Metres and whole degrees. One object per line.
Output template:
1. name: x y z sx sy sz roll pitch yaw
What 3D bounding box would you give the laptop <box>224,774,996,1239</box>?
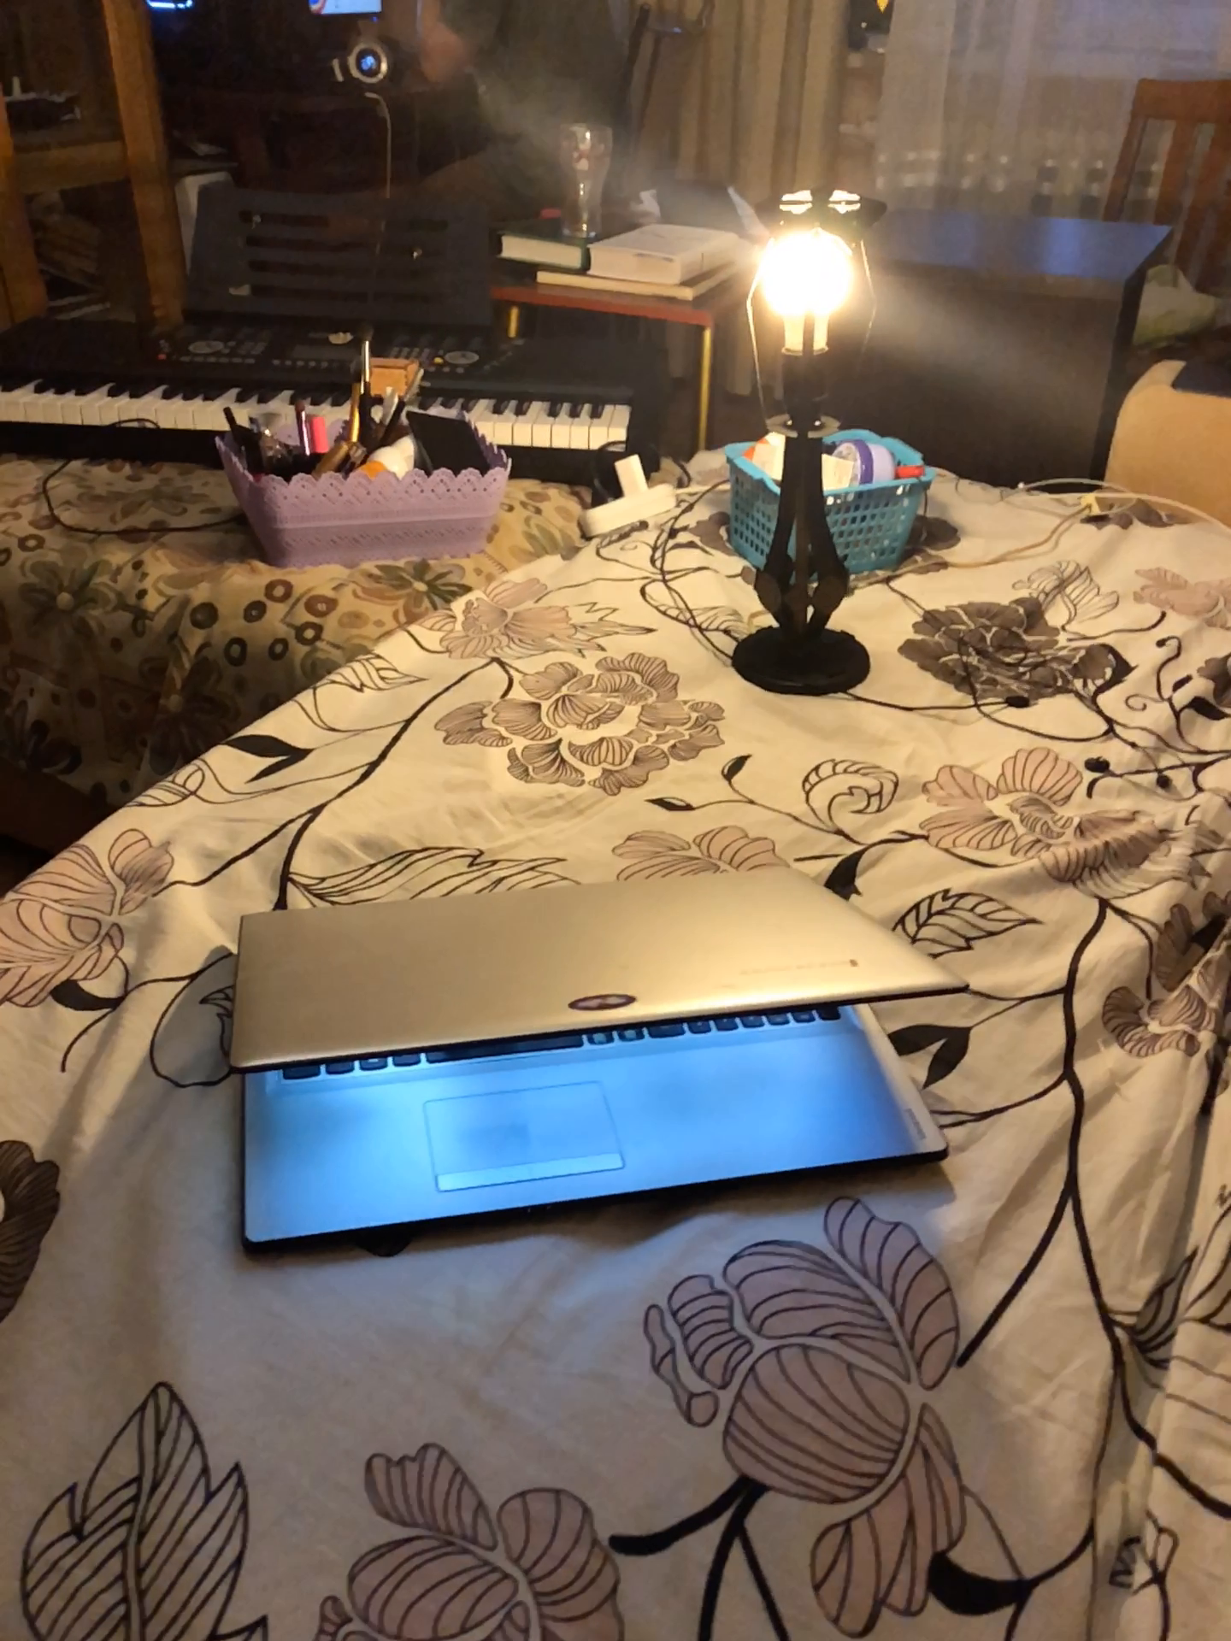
1. laptop: -0.024 0.087 0.783 0.380 0.082 0.257 -5 33 -11
